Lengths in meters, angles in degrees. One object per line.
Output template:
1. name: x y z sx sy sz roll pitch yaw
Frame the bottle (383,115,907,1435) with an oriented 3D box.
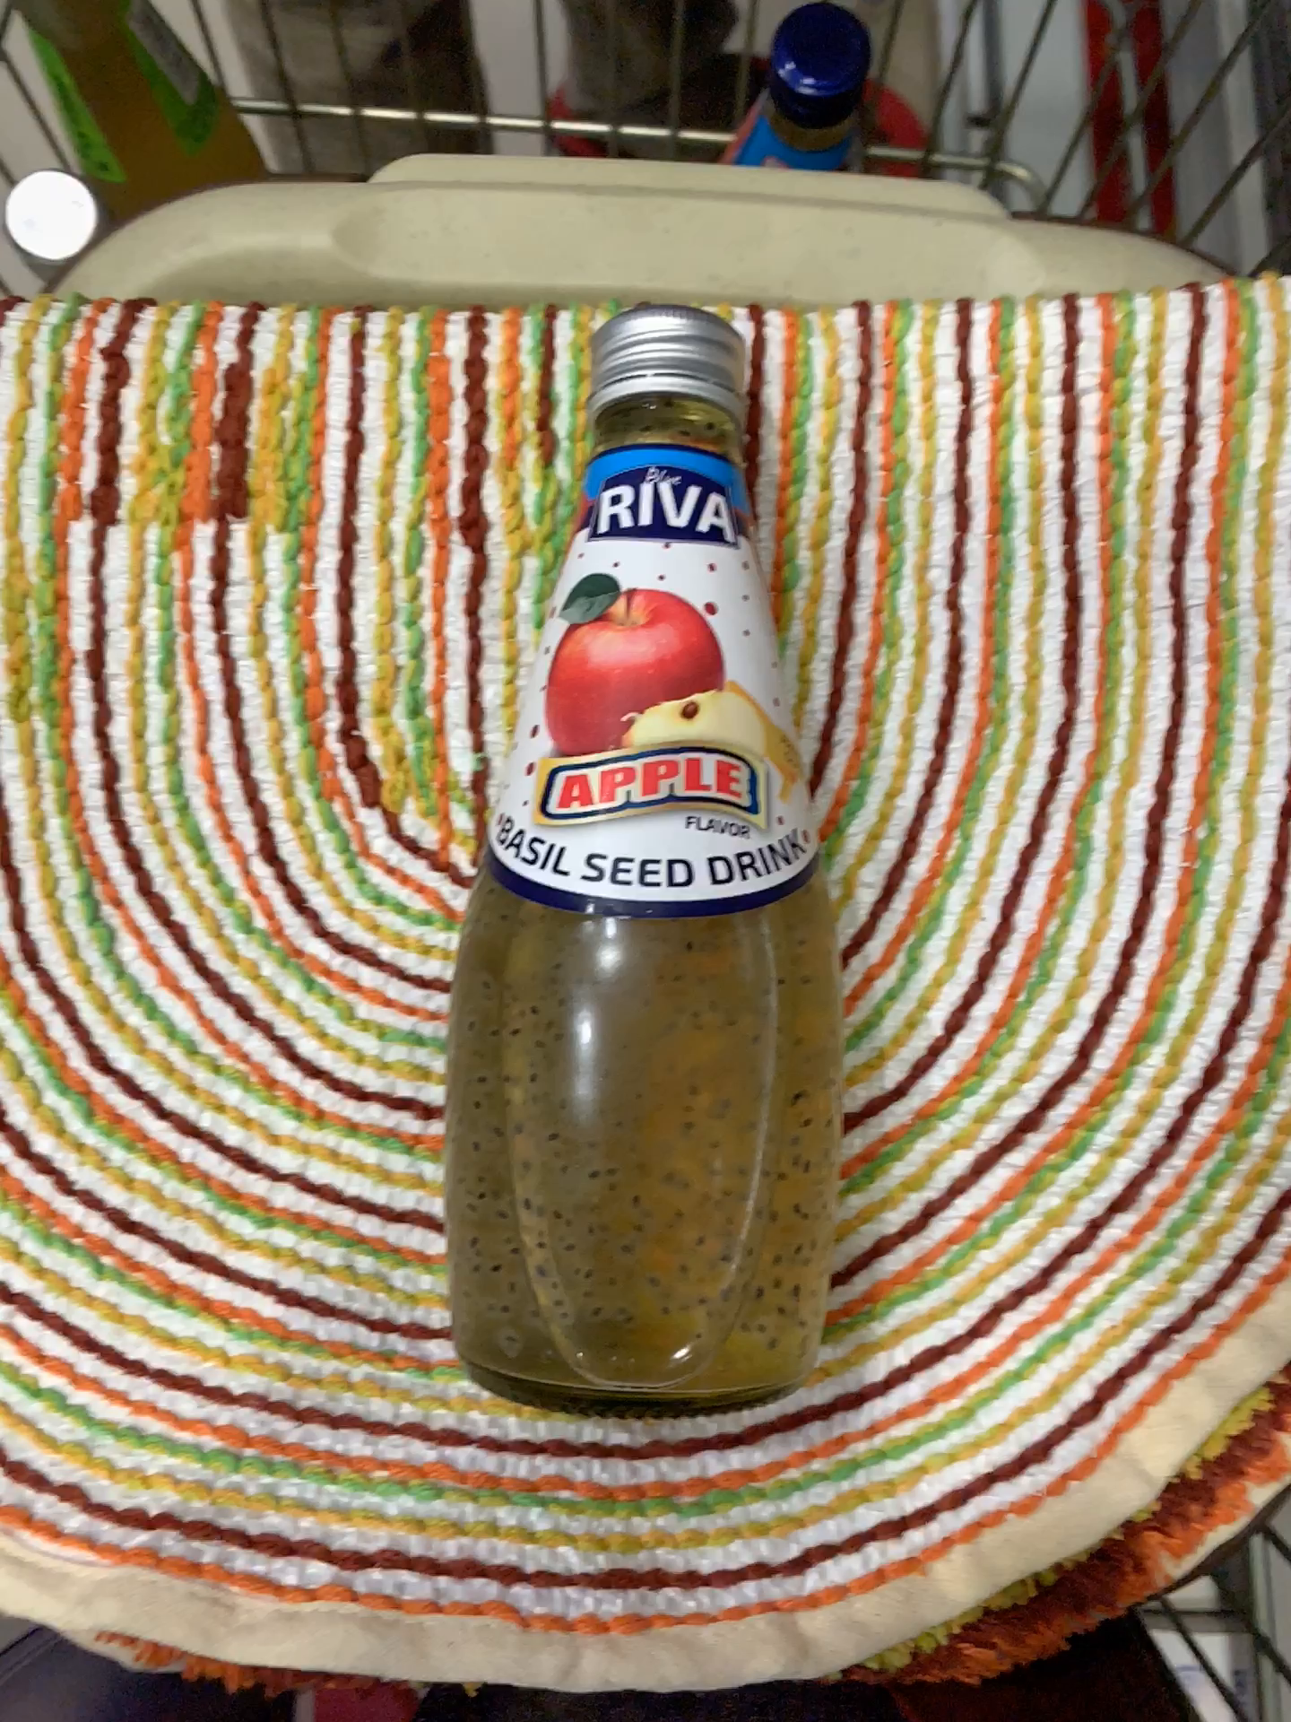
1. bottle: 0.003 -0.018 0.223 0.070 0.050 0.200 2 79 1
